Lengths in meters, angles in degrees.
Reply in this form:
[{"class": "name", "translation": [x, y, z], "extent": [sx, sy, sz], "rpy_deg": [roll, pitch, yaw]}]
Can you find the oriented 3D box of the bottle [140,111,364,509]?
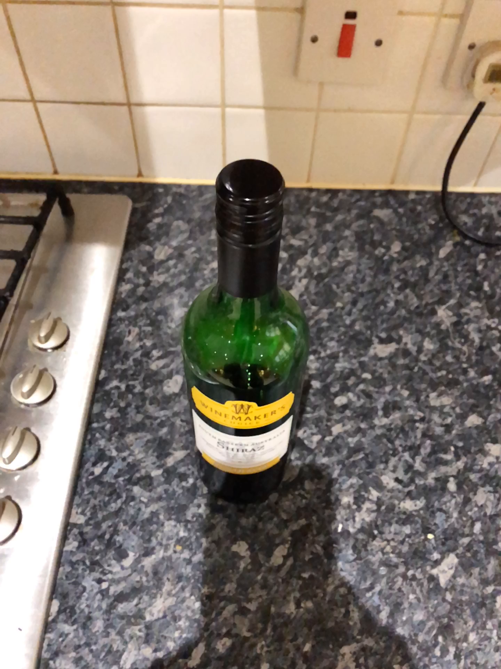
[{"class": "bottle", "translation": [-0.002, 0.017, 0.336], "extent": [0.080, 0.278, 0.081], "rpy_deg": [1, 54, -1]}]
